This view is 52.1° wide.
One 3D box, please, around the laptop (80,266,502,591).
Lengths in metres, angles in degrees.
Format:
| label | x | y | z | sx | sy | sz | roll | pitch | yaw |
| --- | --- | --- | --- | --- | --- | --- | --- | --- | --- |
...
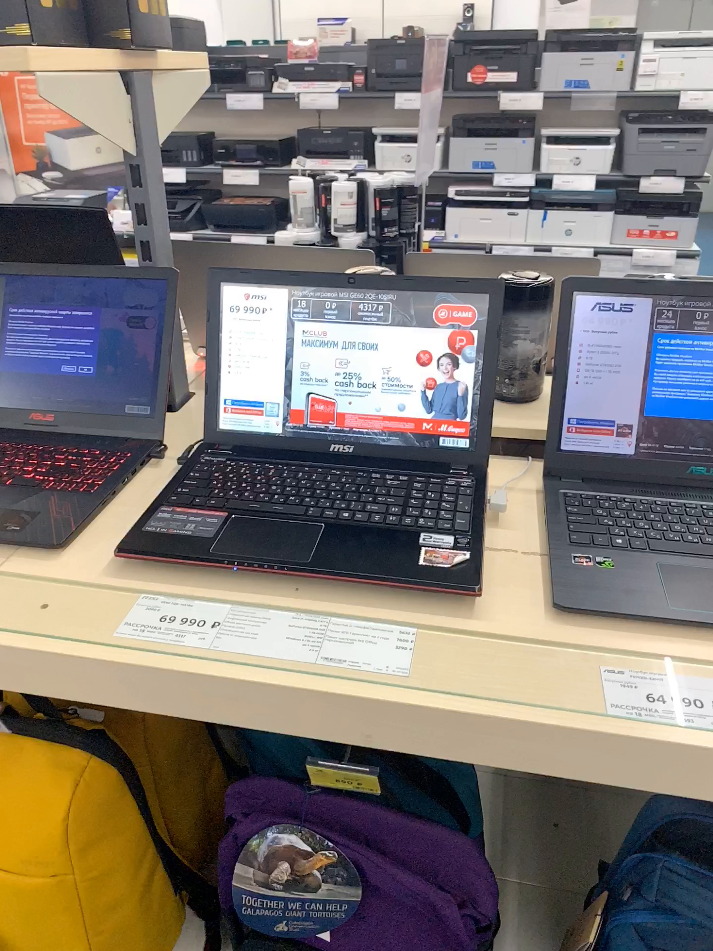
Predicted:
| label | x | y | z | sx | sy | sz | roll | pitch | yaw |
| --- | --- | --- | --- | --- | --- | --- | --- | --- | --- |
| laptop | -0.034 | -0.076 | 0.777 | 0.355 | 0.197 | 0.314 | 5 | 30 | 9 |
